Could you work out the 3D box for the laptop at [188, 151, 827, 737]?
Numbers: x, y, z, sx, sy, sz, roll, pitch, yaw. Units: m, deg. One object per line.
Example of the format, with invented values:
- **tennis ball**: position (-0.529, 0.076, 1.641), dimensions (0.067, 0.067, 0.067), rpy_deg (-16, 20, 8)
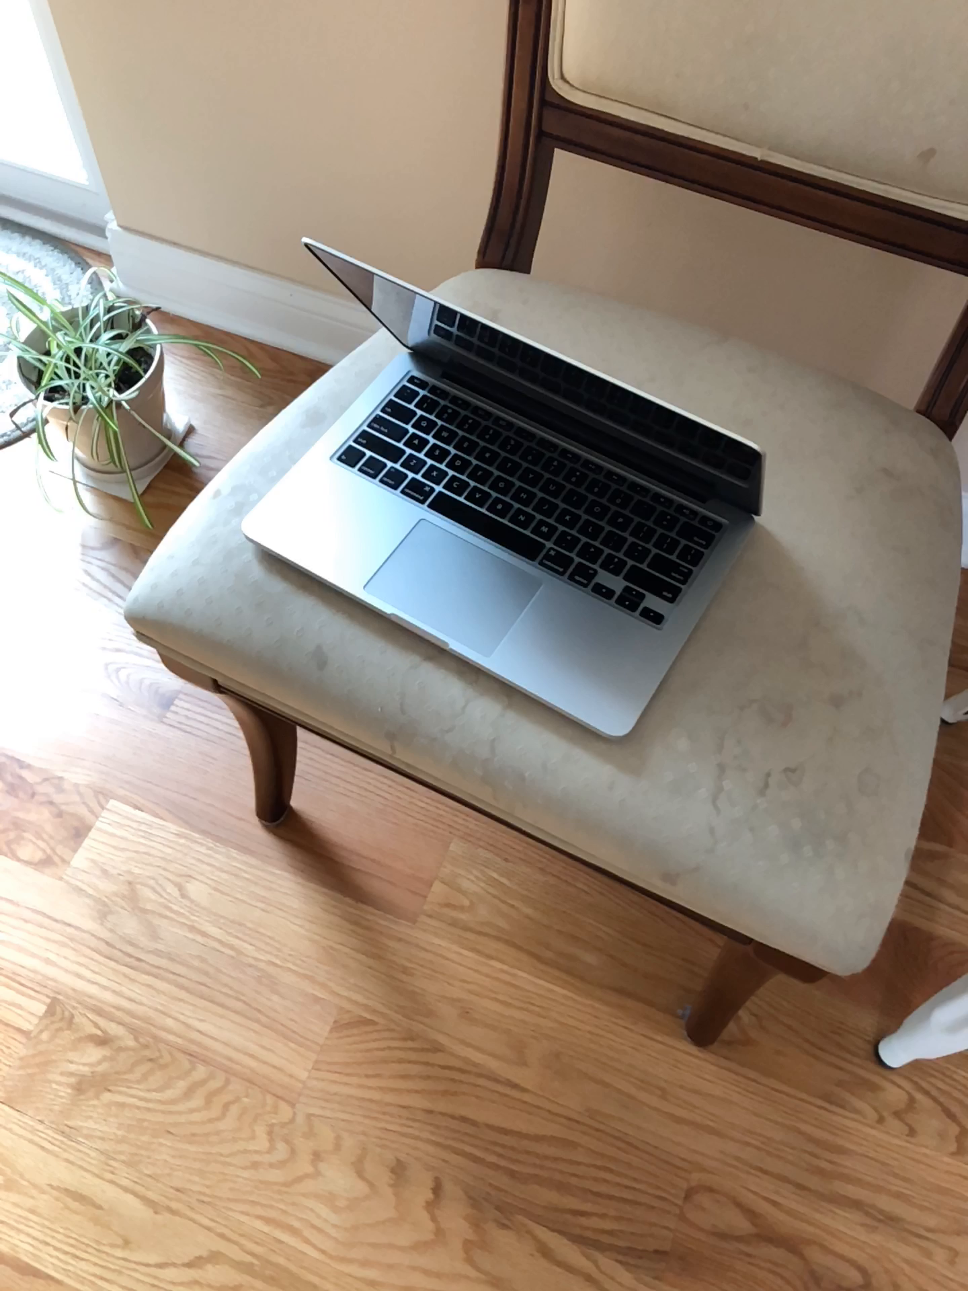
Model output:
- **laptop**: position (0.016, -0.137, 0.701), dimensions (0.309, 0.183, 0.218), rpy_deg (28, 60, 15)
